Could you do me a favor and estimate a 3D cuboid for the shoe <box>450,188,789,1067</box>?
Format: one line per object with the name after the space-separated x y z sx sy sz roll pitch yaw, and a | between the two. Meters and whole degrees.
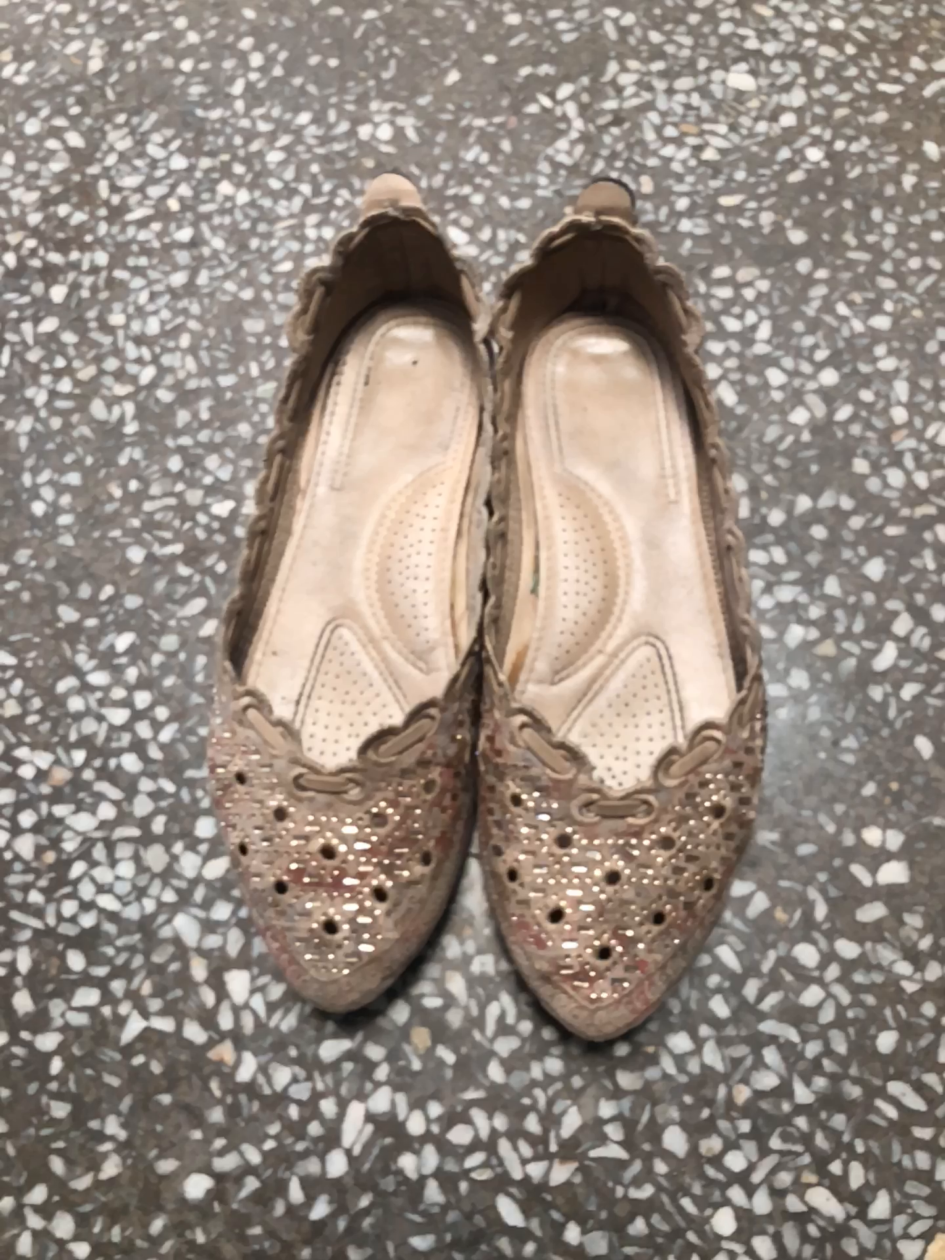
0.048 -0.011 0.338 0.090 0.040 0.270 3 75 3 | shoe

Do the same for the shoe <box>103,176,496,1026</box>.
-0.046 -0.022 0.351 0.090 0.040 0.280 3 71 3 | shoe
